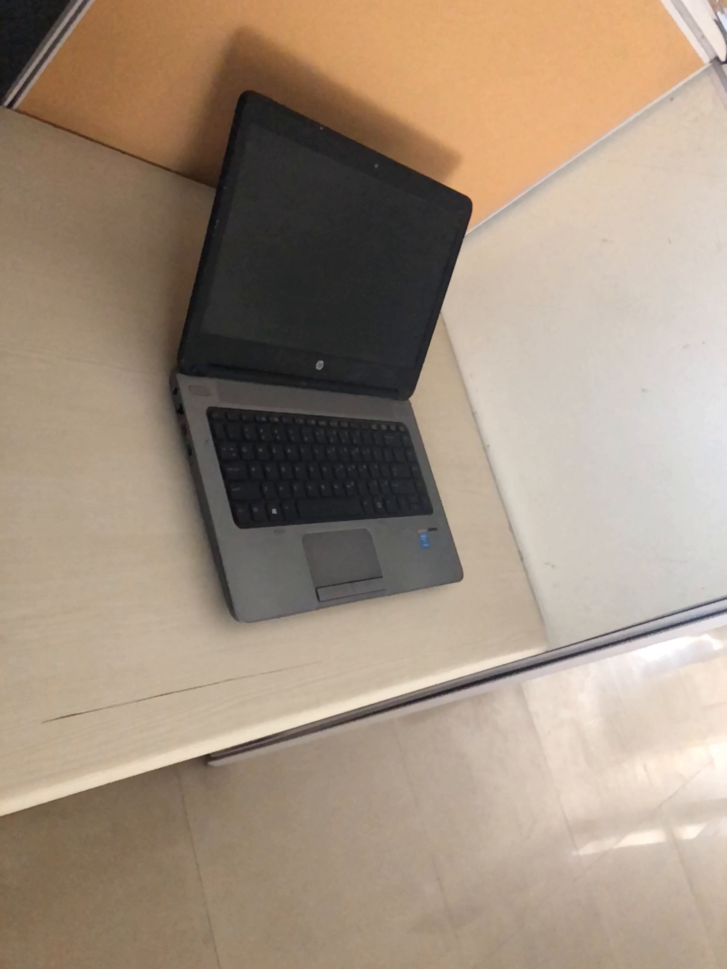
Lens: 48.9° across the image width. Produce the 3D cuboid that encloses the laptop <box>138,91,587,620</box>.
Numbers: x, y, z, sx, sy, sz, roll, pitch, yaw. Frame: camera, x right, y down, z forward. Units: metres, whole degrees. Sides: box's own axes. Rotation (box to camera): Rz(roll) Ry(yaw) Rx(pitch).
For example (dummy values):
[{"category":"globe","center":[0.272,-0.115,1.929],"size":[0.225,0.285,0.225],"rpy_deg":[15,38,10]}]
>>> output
[{"category":"laptop","center":[0.012,-0.101,0.759],"size":[0.326,0.167,0.371],"rpy_deg":[-2,72,-52]}]
